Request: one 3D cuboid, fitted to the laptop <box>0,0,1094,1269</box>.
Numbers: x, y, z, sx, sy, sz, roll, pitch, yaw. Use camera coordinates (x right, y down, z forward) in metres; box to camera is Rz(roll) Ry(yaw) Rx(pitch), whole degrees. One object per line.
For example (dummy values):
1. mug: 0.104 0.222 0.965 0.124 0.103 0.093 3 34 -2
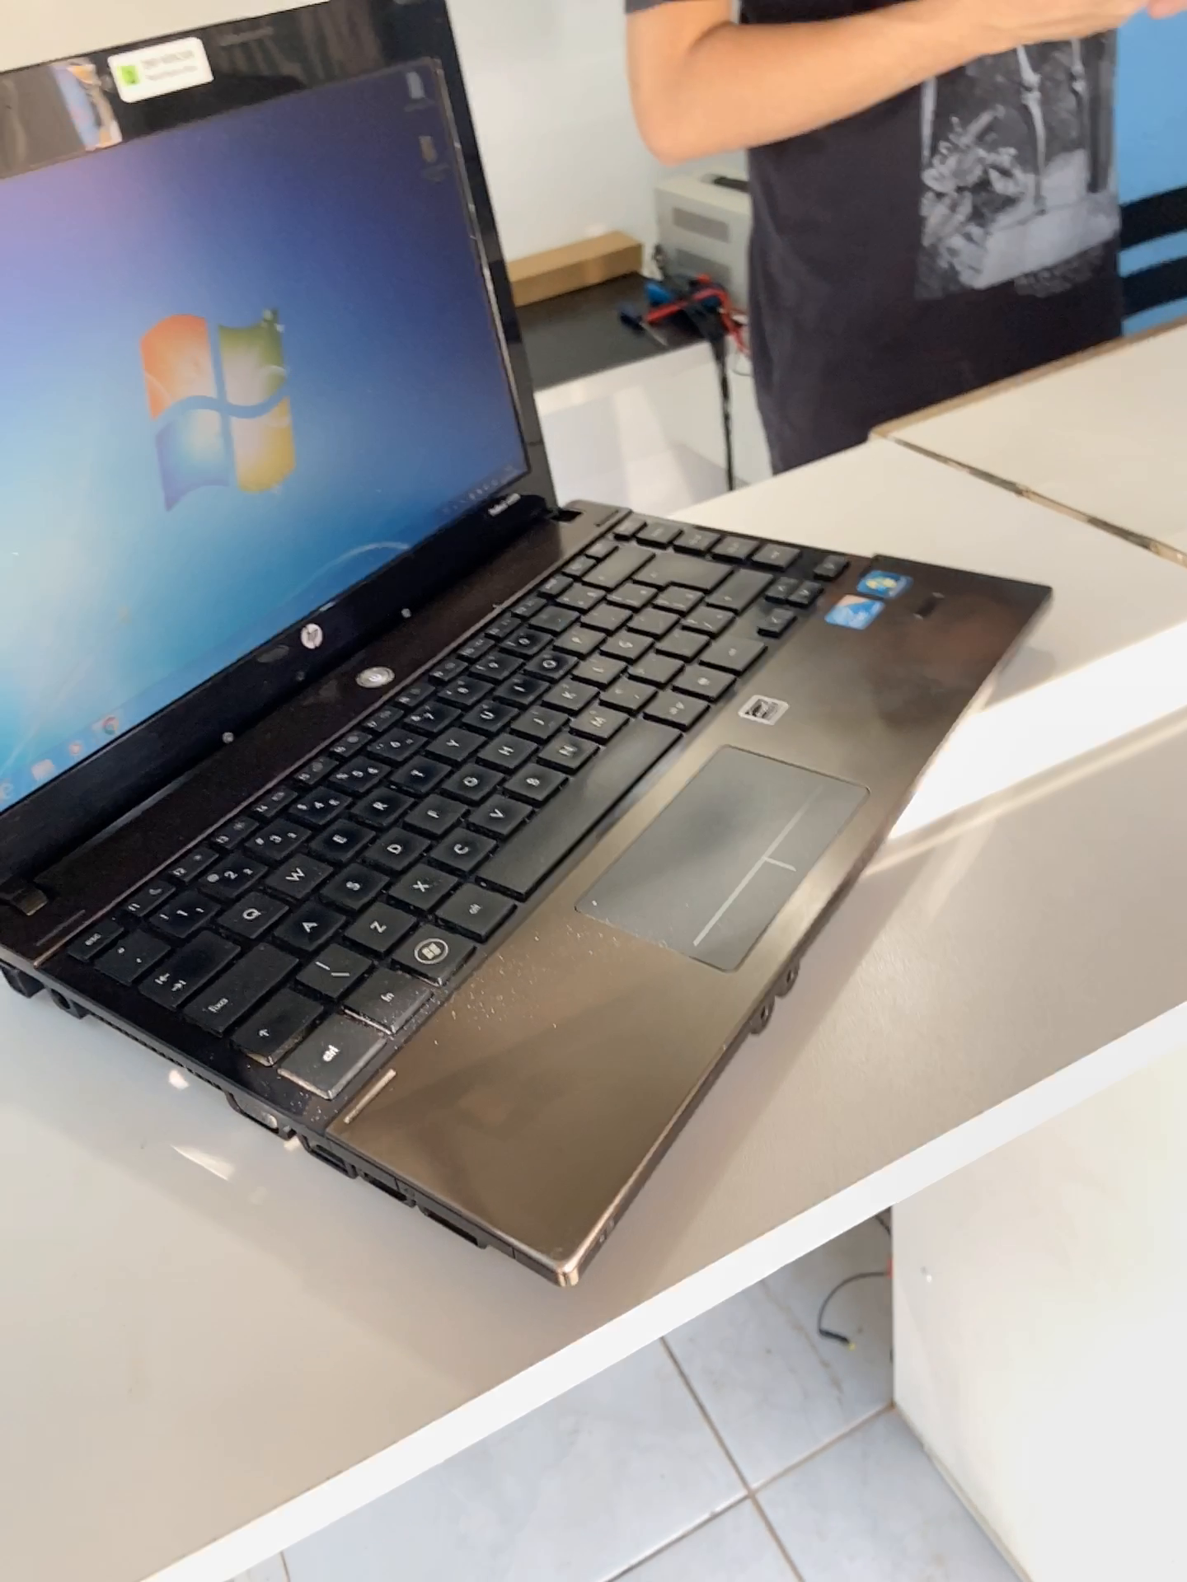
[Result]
1. laptop: -0.040 -0.105 0.371 0.259 0.207 0.323 18 45 32
